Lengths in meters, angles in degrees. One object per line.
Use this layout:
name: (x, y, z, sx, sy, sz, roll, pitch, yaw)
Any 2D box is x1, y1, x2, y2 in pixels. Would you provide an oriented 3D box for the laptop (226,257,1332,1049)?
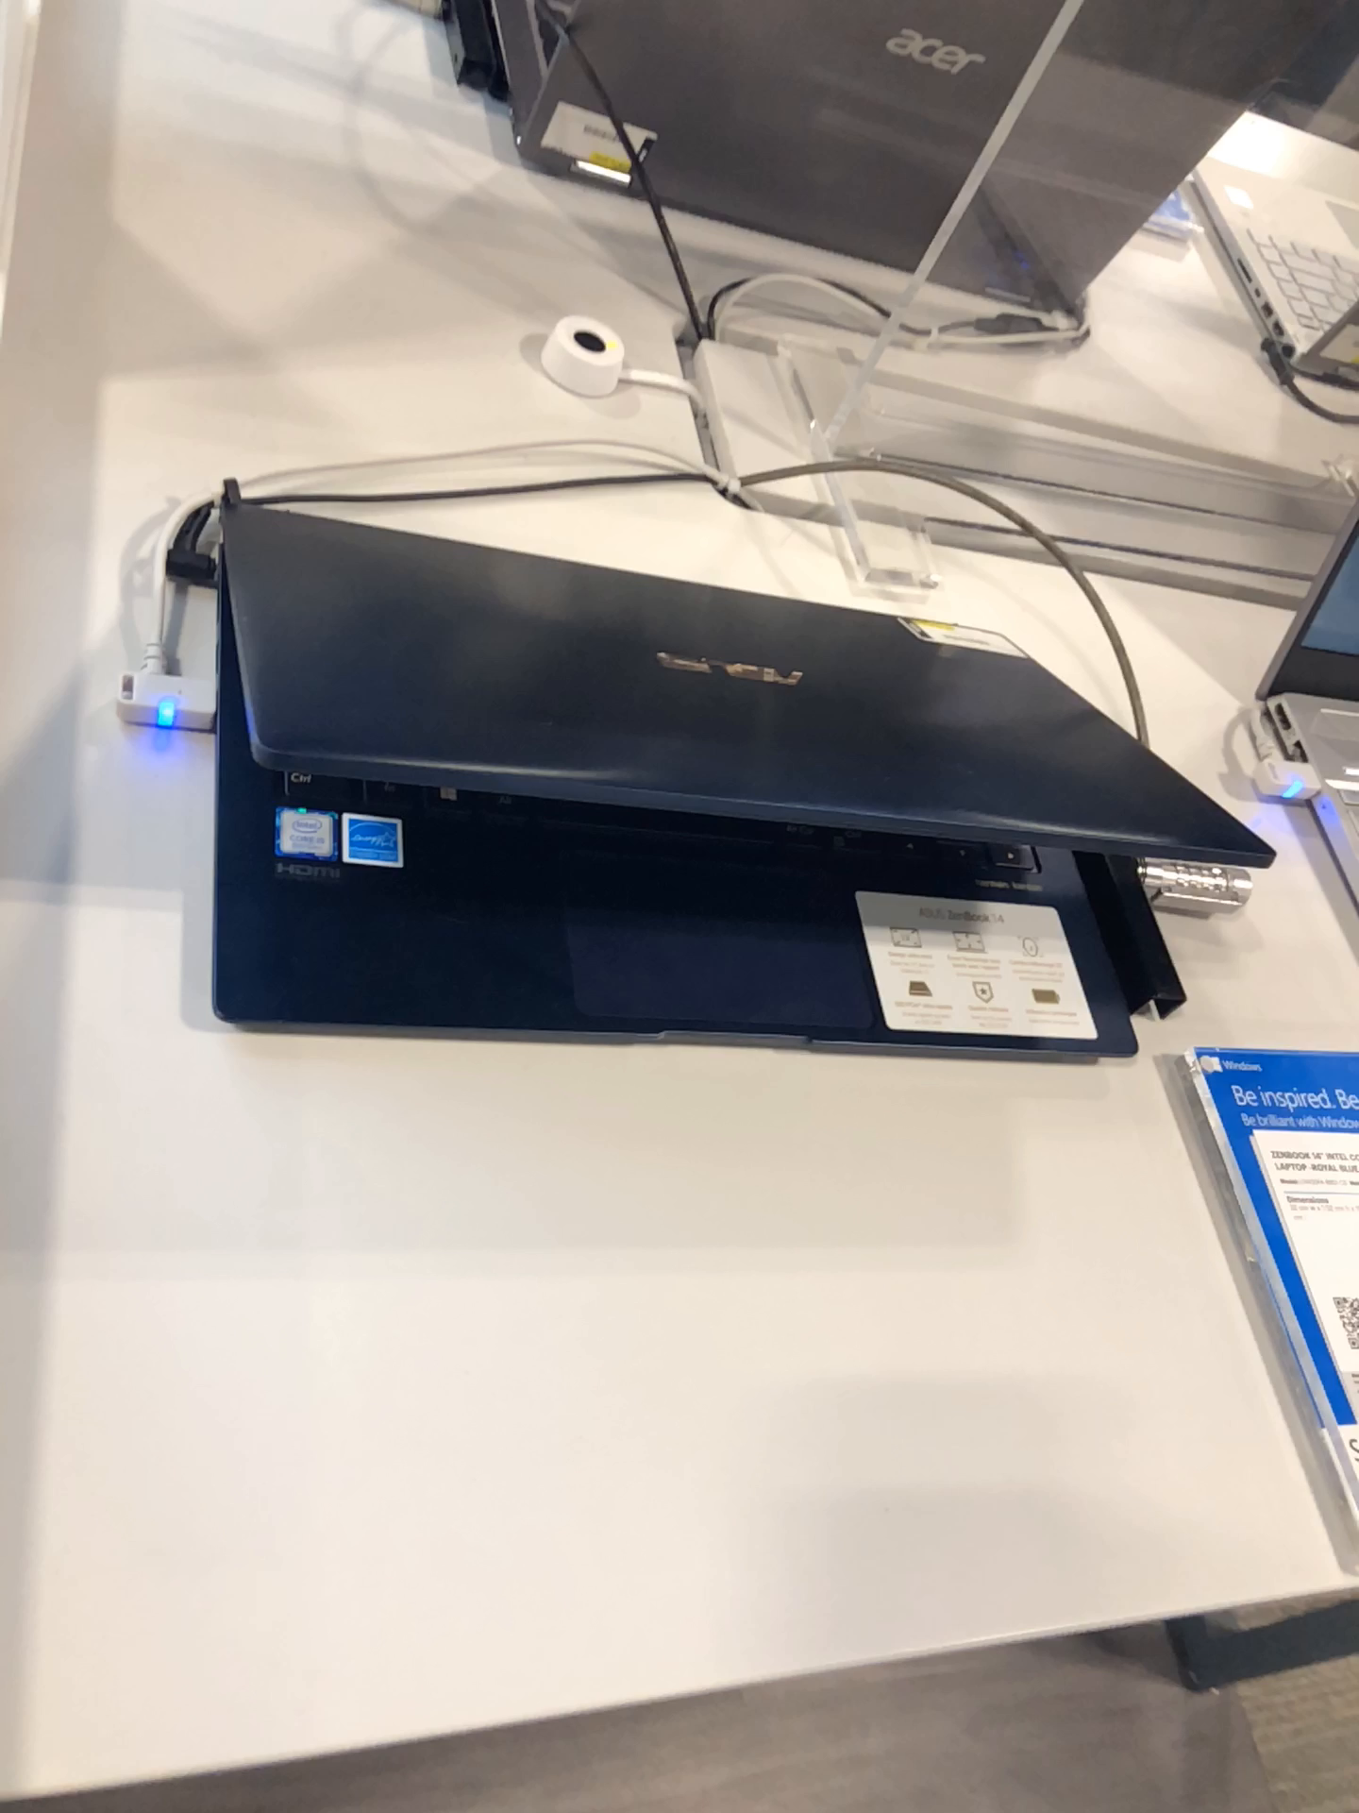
laptop: (0.021, -0.071, 0.481, 0.310, 0.095, 0.203, 5, 54, -23)
